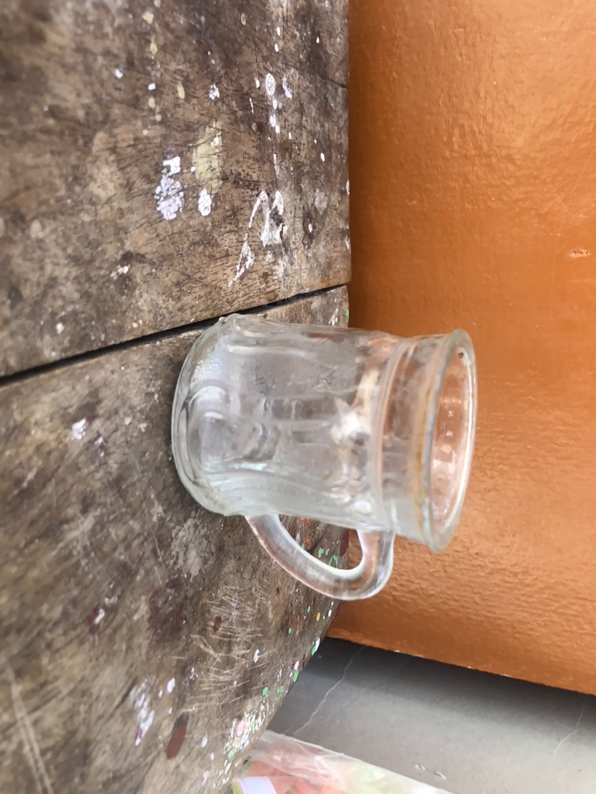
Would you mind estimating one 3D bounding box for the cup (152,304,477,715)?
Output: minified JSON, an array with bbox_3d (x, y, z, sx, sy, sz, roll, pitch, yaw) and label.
[{"bbox_3d":[0.009,0.022,0.166,0.050,0.060,0.080,-41,131,-59],"label":"cup"}]
